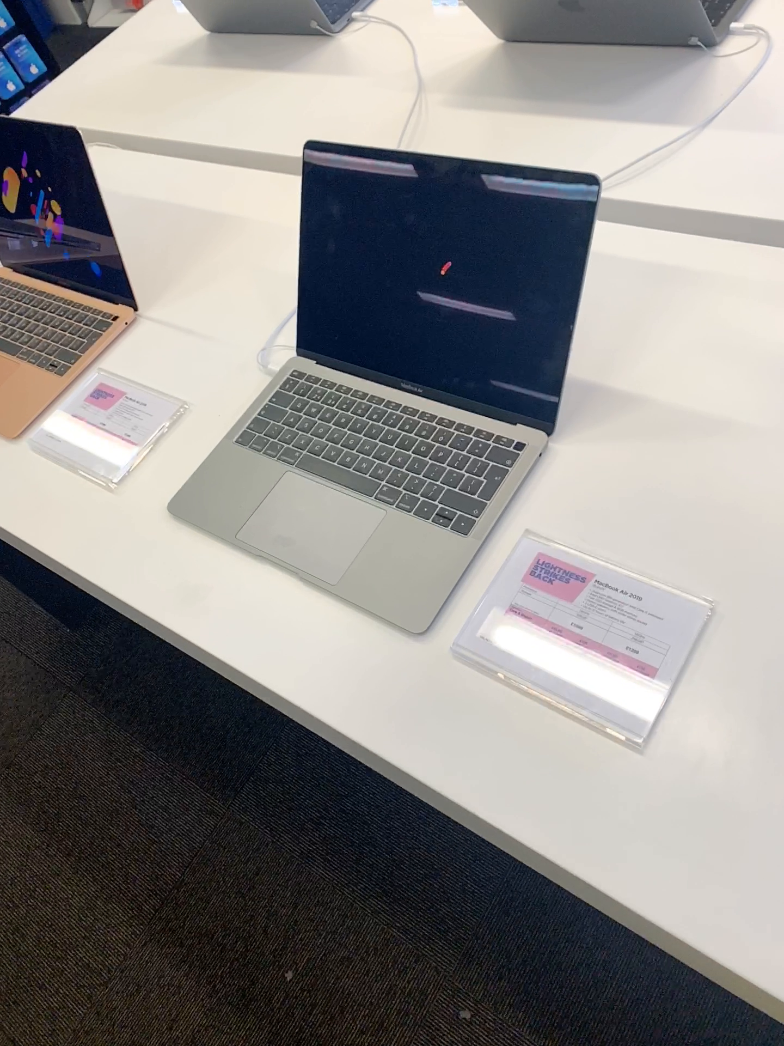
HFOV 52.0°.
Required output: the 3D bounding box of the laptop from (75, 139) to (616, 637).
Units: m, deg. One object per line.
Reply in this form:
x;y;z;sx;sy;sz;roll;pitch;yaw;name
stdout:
-0.022;-0.135;0.671;0.290;0.160;0.329;22;65;30;laptop
